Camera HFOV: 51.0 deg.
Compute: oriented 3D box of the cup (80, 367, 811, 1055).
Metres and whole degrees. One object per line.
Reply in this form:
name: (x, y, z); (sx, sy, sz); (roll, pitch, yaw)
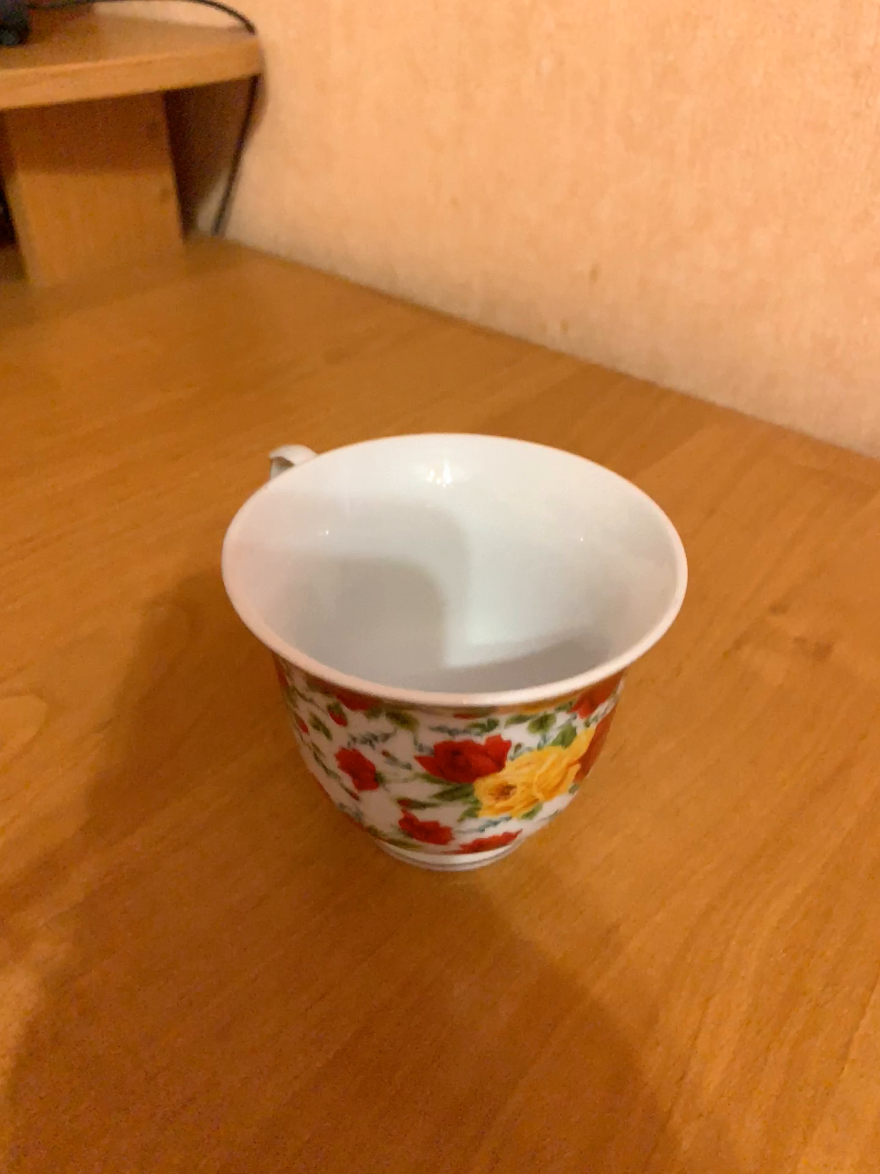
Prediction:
cup: (-0.004, 0.013, 0.213); (0.100, 0.067, 0.120); (-25, 44, -31)
